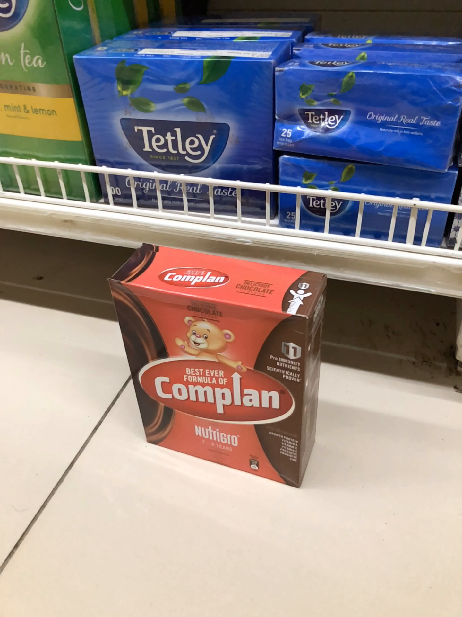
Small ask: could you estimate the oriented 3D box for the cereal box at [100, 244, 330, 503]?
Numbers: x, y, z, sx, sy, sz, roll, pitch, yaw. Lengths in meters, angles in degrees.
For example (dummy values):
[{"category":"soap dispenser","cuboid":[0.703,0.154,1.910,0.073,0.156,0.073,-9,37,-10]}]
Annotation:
[{"category":"cereal box","cuboid":[-0.006,0.052,0.383,0.140,0.179,0.050,11,41,19]}]
